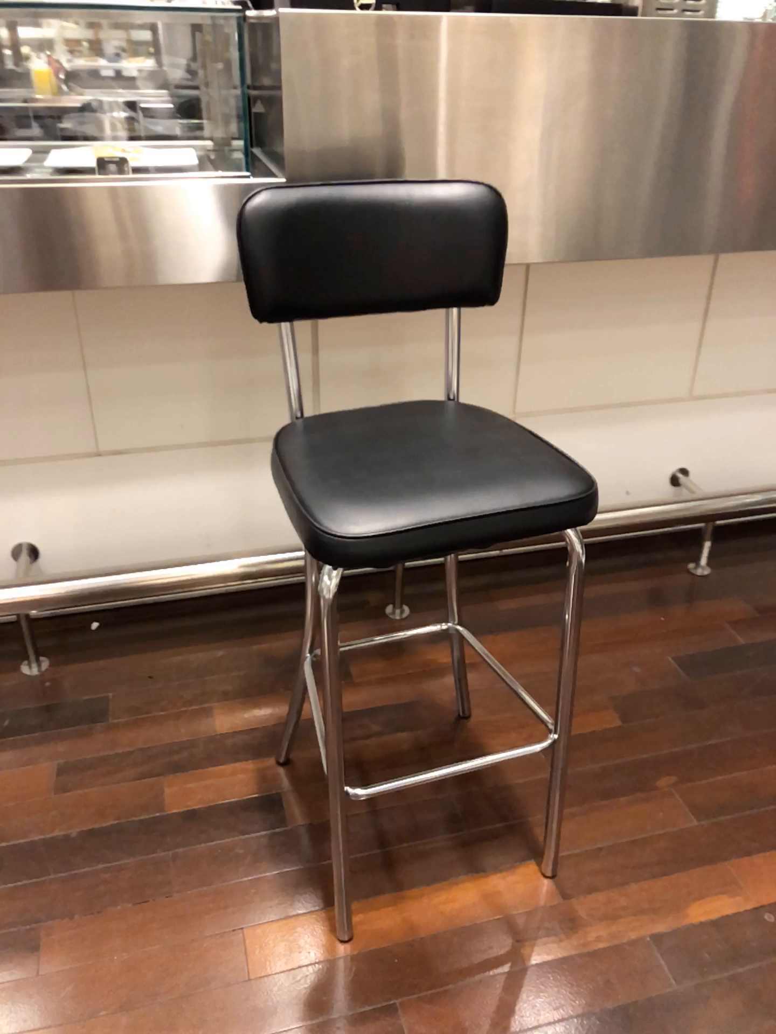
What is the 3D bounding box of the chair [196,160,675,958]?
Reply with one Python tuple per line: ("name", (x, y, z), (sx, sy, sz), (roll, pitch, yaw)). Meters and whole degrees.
("chair", (0.012, 0.055, 1.254), (0.420, 1.012, 0.473), (-9, 30, -17))
